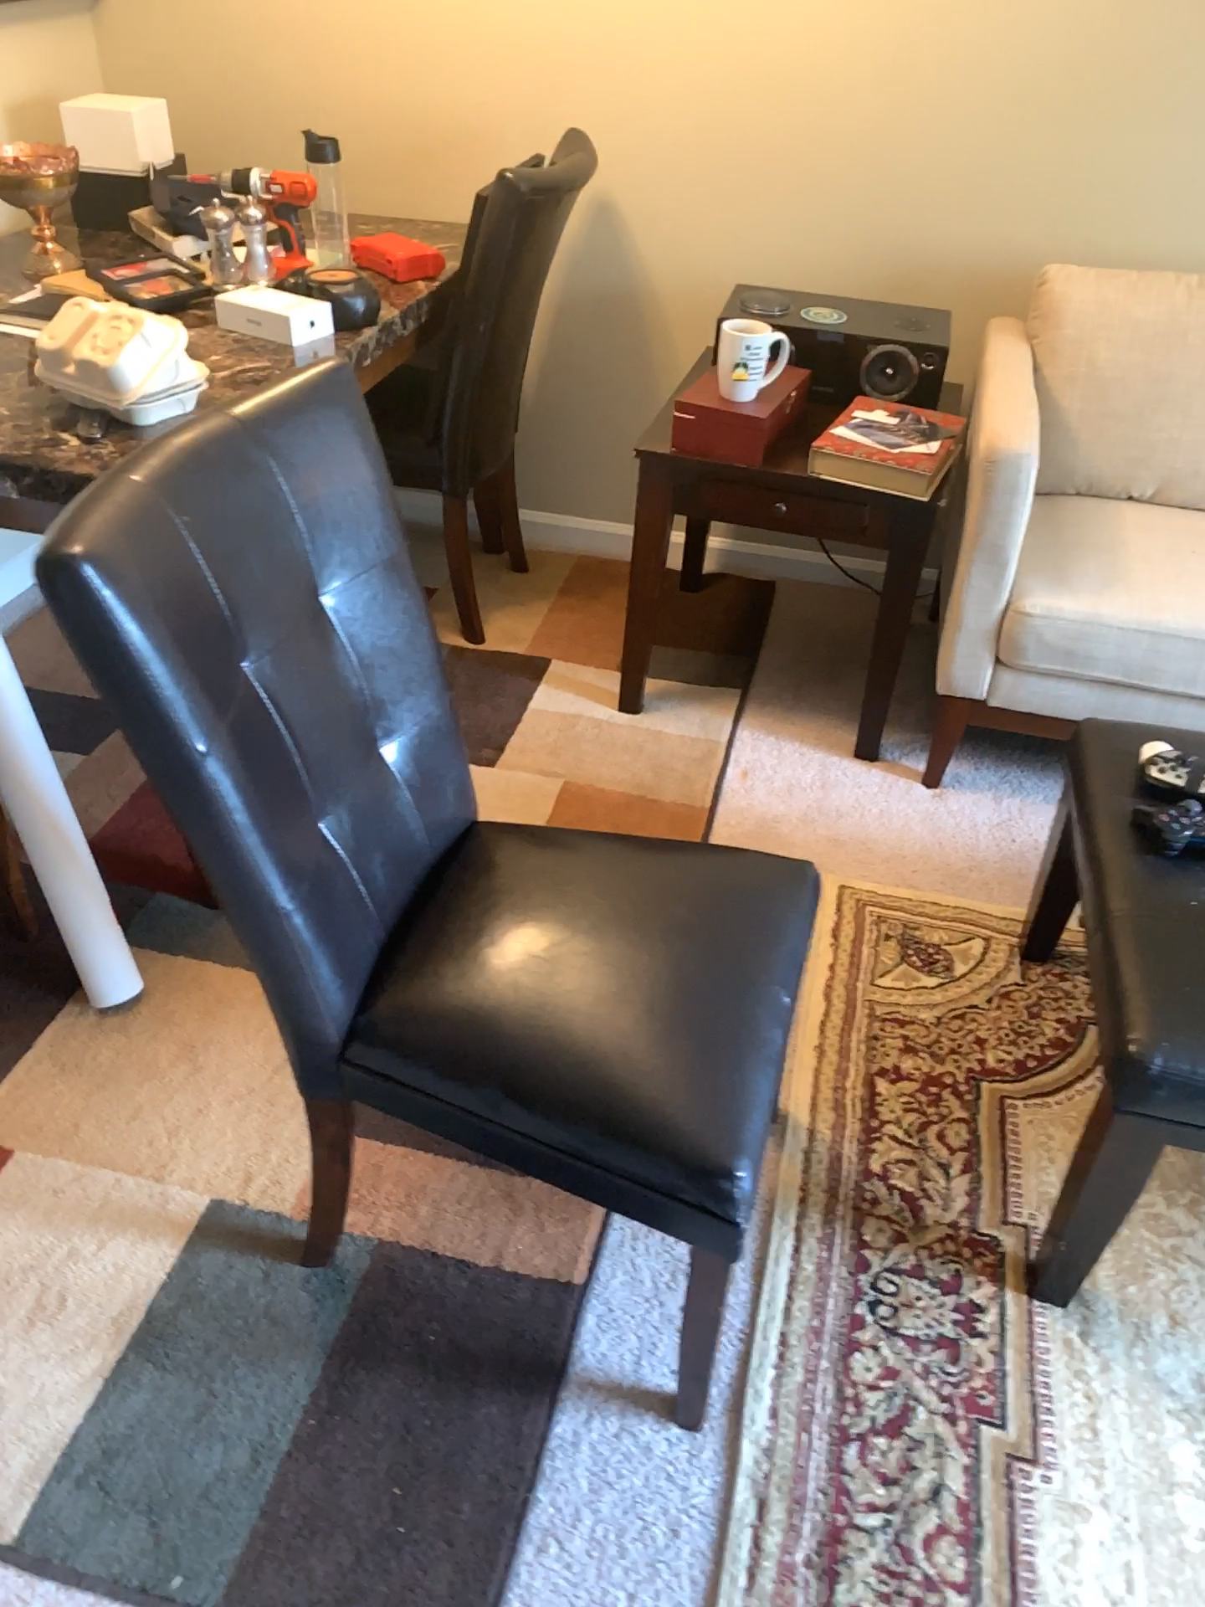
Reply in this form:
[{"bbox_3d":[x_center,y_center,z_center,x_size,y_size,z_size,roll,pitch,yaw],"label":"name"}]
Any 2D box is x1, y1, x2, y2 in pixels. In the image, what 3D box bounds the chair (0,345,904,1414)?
[{"bbox_3d":[-0.112,0.090,1.302,0.651,0.914,0.493,11,38,11],"label":"chair"}]
